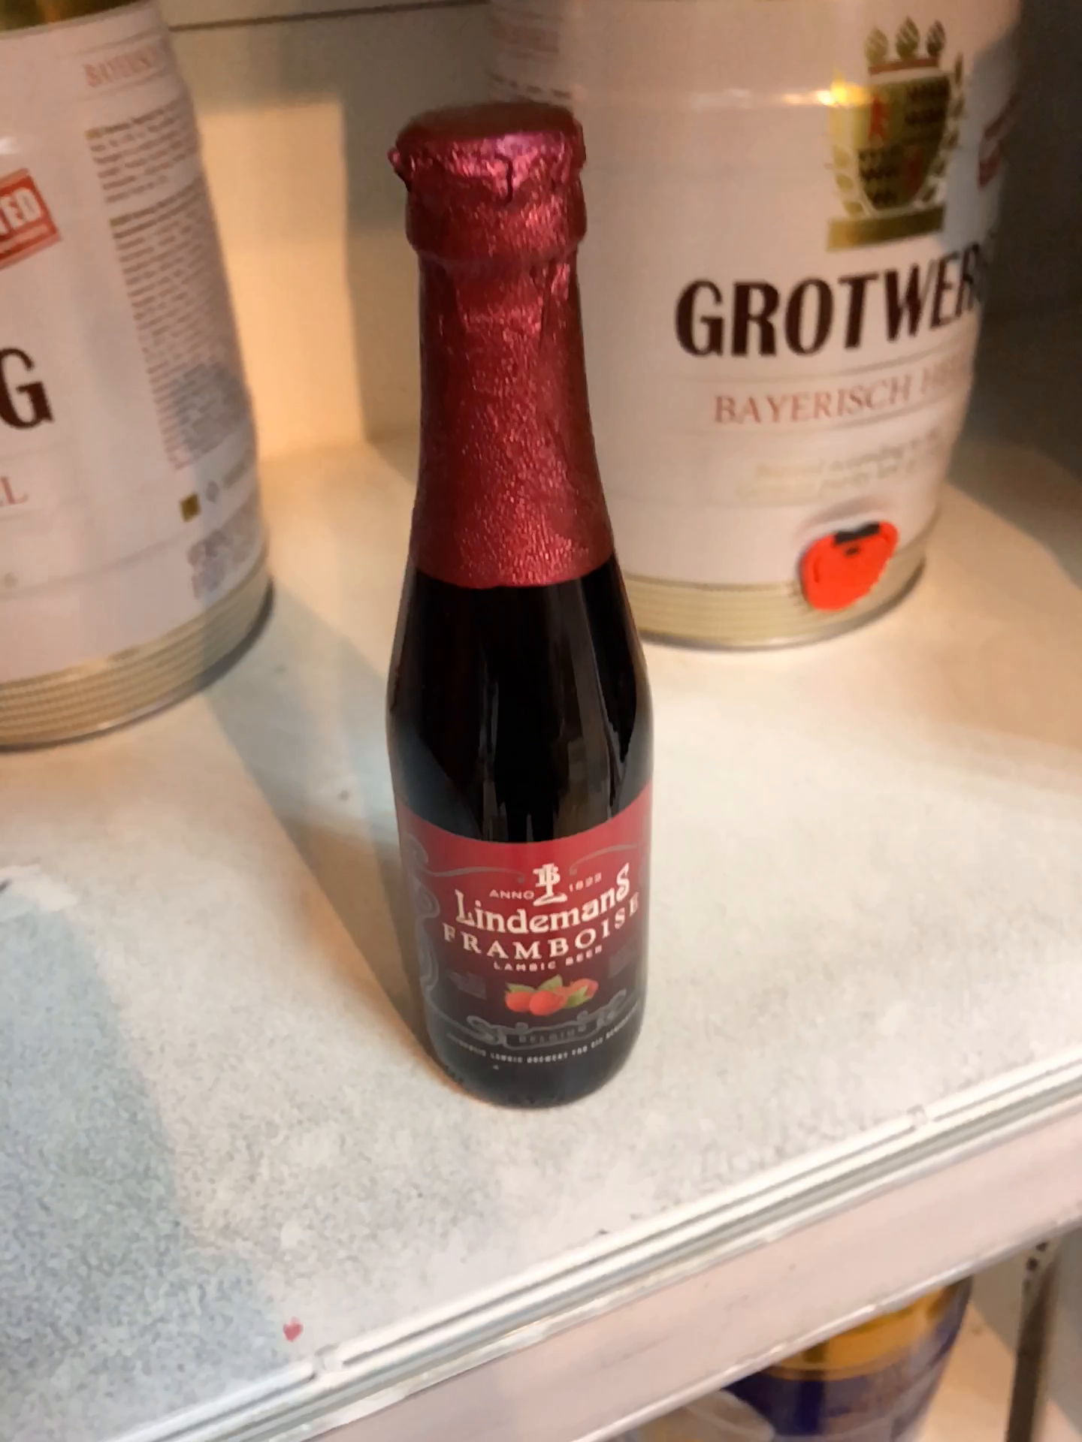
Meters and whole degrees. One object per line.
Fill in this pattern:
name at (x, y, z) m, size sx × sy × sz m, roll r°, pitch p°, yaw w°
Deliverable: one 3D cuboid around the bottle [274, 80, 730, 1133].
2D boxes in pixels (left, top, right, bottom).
bottle at (-0.005, -0.007, 0.237) m, size 0.058 × 0.199 × 0.058 m, roll -2°, pitch 38°, yaw 1°
